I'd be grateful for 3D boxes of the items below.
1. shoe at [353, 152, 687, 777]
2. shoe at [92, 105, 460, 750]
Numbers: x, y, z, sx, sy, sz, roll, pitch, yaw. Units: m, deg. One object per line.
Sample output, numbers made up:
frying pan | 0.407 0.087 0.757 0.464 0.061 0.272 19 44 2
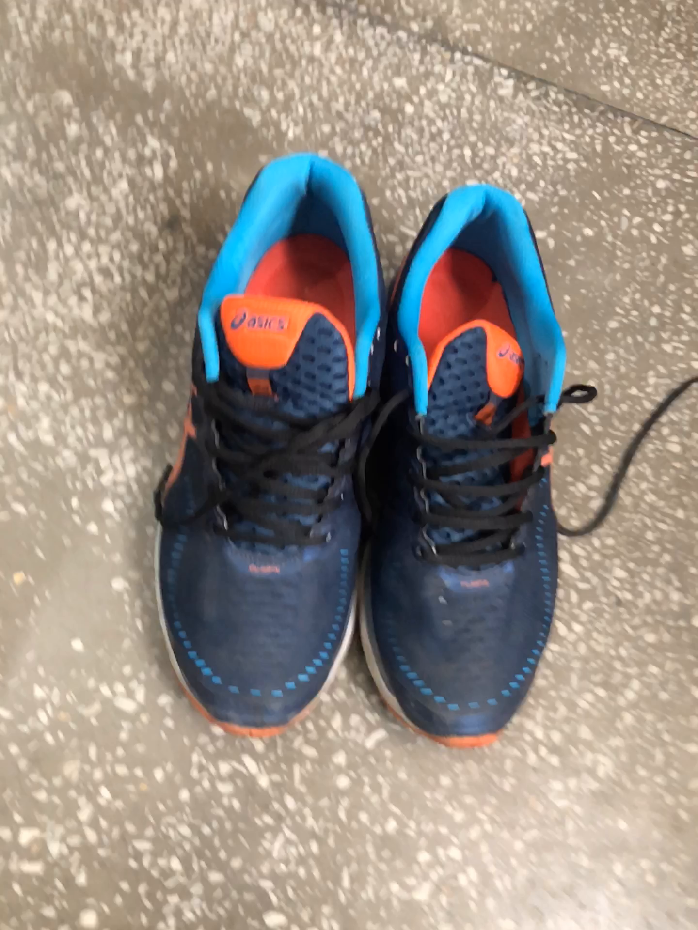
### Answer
shoe | 0.081 -0.001 0.399 0.118 0.100 0.288 8 69 -7
shoe | -0.026 -0.018 0.386 0.118 0.100 0.288 10 68 -6
